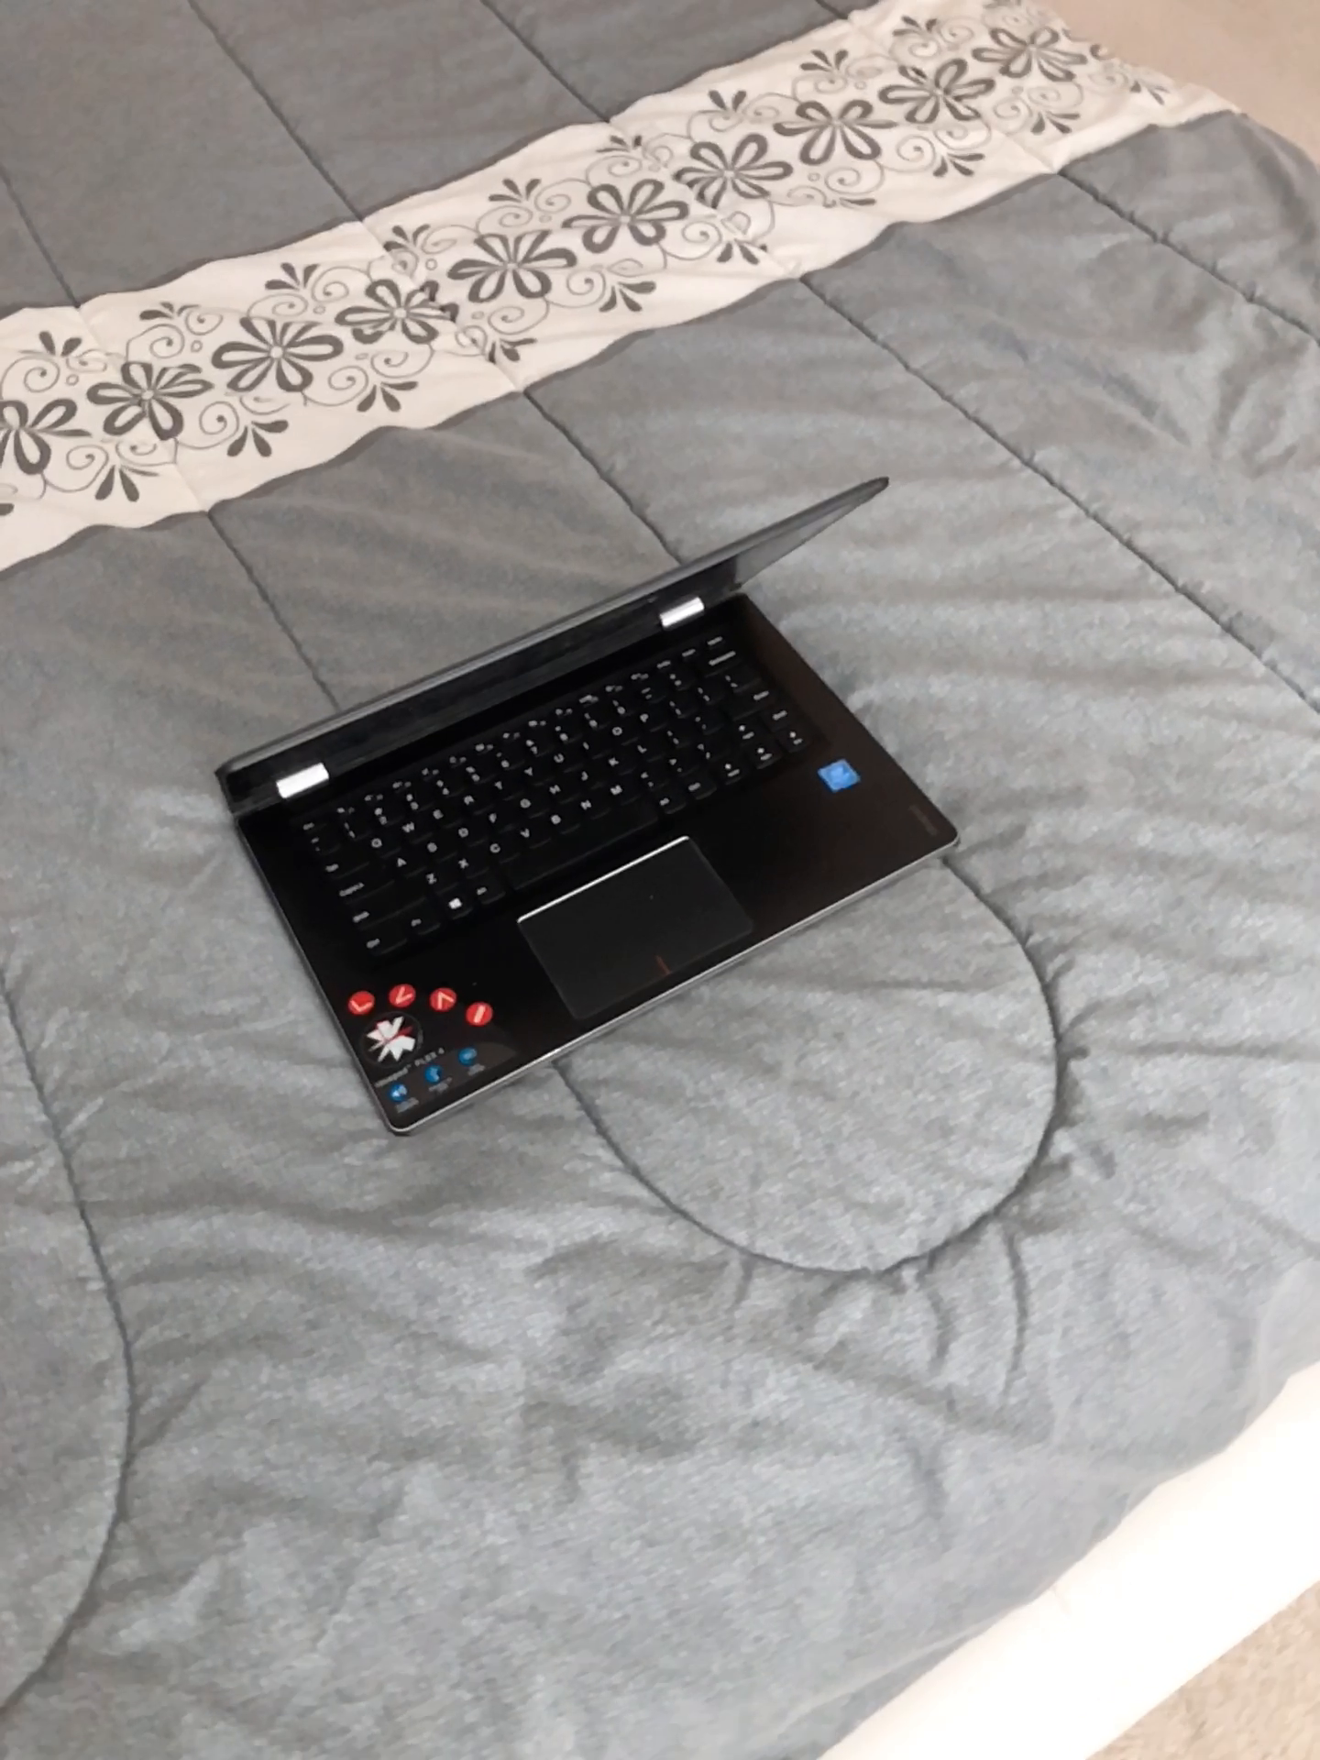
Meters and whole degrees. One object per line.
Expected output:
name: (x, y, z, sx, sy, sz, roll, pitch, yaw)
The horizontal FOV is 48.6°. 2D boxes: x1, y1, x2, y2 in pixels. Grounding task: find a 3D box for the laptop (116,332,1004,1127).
laptop: (-0.042, -0.077, 0.672, 0.304, 0.167, 0.215, -26, 57, -14)
